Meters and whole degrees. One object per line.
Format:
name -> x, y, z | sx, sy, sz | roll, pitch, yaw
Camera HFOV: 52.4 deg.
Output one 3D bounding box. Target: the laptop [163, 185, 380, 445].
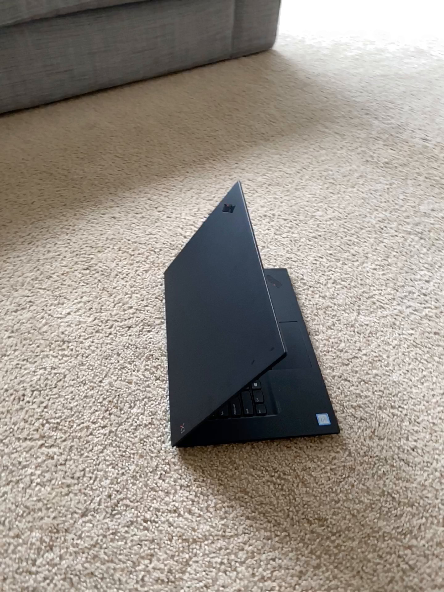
laptop -> 0.037, 0.011, 0.703 | 0.243, 0.198, 0.356 | -2, 46, -8
